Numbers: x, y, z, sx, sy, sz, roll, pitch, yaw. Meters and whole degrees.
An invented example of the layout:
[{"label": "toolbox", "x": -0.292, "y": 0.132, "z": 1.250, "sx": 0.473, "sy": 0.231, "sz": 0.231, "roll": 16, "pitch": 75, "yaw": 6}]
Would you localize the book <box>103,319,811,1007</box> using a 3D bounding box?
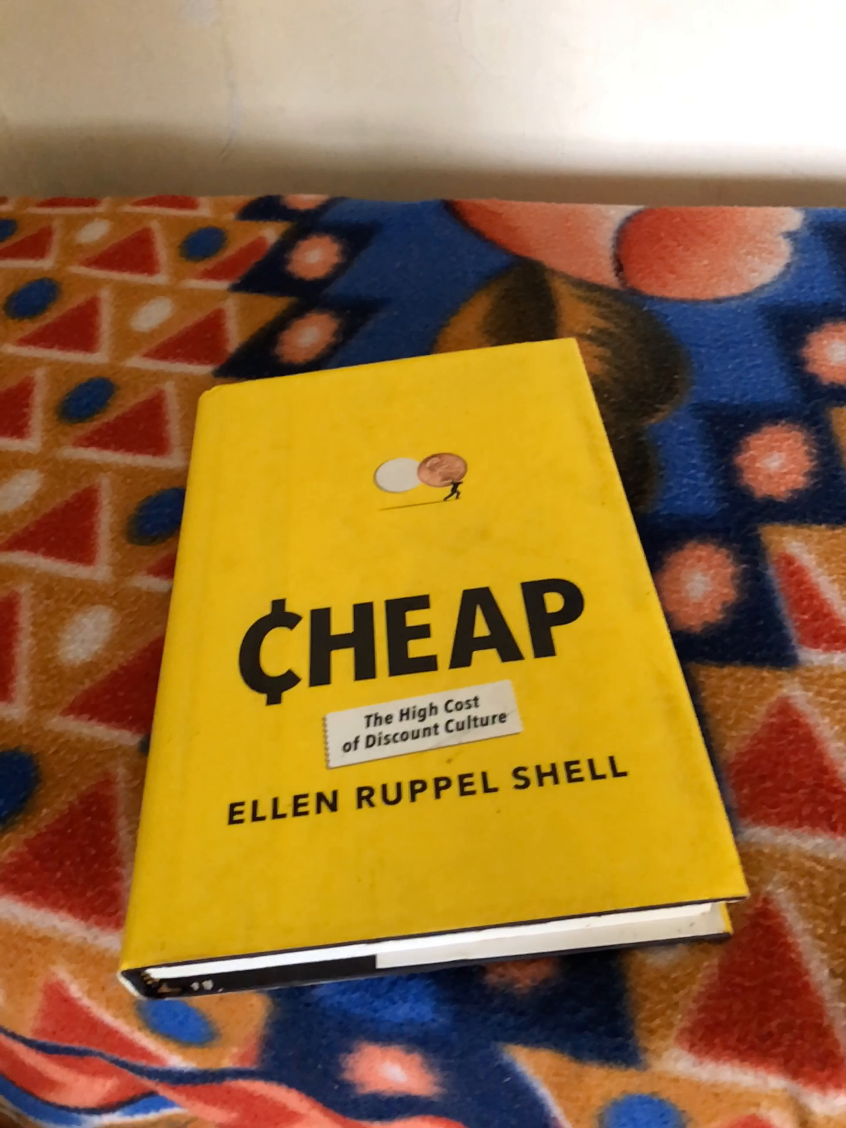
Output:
[{"label": "book", "x": 0.000, "y": 0.008, "z": 0.317, "sx": 0.170, "sy": 0.030, "sz": 0.241, "roll": -6, "pitch": 48, "yaw": 0}]
